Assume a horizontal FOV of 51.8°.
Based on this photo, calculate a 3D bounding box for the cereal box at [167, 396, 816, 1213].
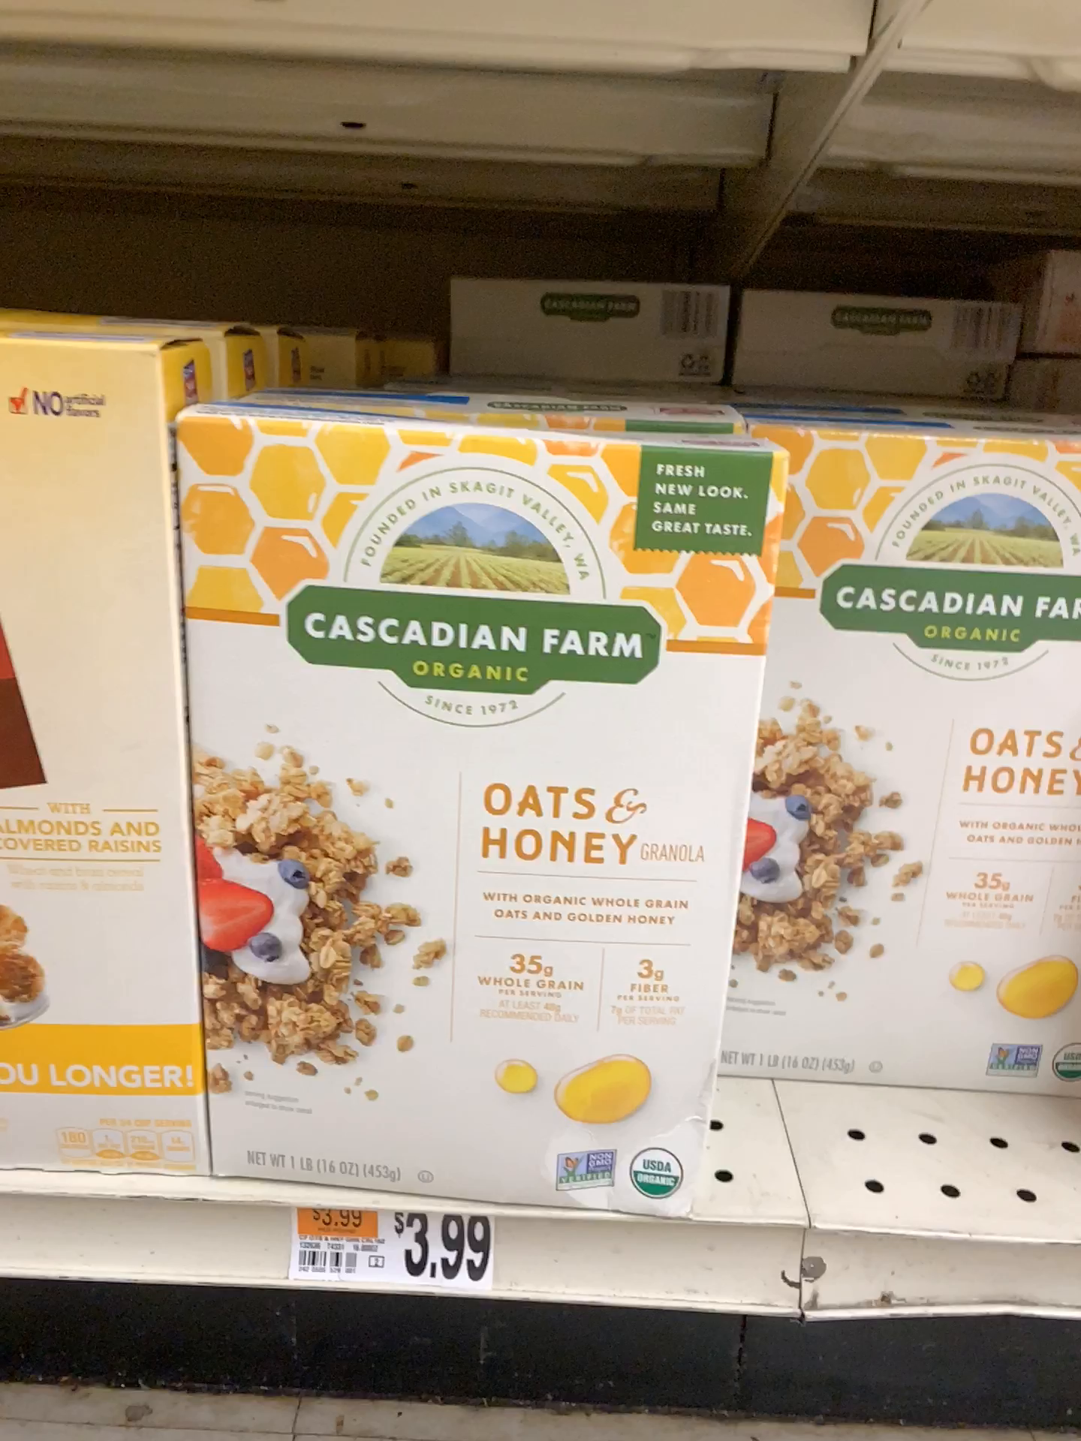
[{"bbox_3d":[-0.017,0.027,0.337,0.160,0.229,0.060,4,18,3],"label":"cereal box"}]
